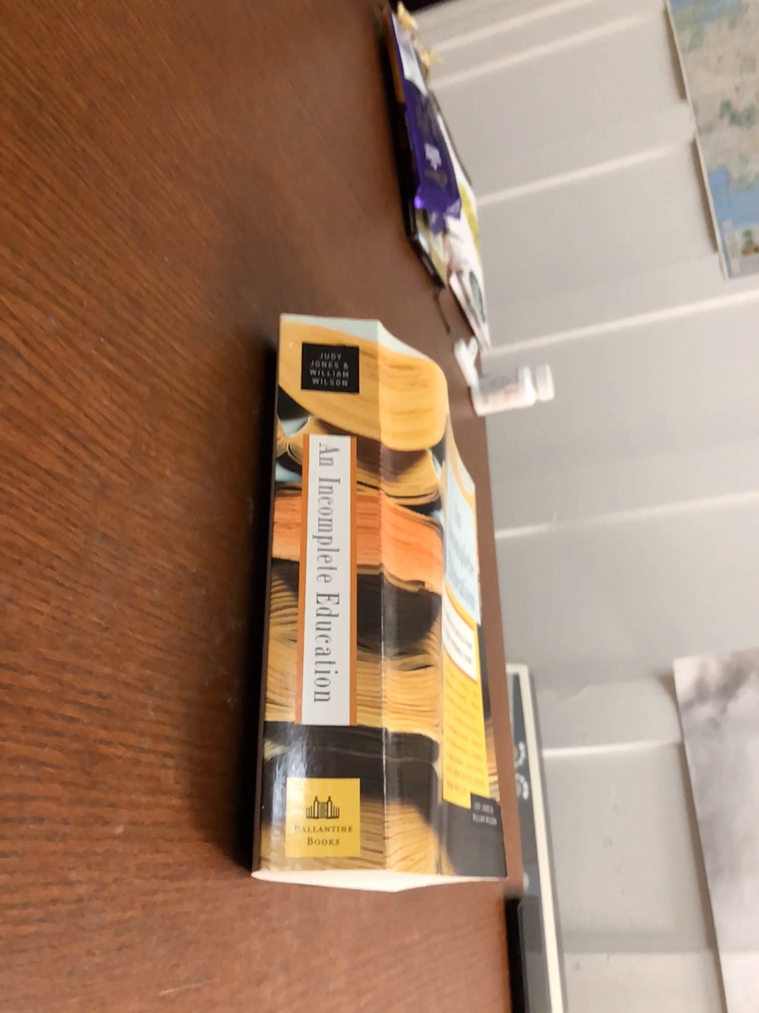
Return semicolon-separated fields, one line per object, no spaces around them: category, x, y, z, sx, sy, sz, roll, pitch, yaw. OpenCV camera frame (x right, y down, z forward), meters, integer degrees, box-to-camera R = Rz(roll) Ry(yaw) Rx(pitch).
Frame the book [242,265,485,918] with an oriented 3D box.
book;0.004;0.055;0.409;0.210;0.060;0.250;64;23;-64
